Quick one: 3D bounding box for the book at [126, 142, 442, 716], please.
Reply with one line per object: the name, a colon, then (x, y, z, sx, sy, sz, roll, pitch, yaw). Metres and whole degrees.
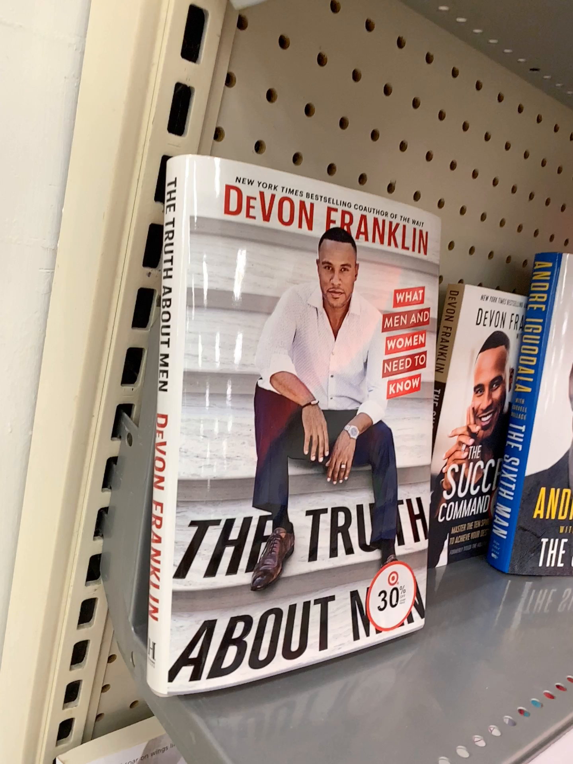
book: (0.006, 0.021, 0.306, 0.160, 0.236, 0.040, 2, 0, -35)
